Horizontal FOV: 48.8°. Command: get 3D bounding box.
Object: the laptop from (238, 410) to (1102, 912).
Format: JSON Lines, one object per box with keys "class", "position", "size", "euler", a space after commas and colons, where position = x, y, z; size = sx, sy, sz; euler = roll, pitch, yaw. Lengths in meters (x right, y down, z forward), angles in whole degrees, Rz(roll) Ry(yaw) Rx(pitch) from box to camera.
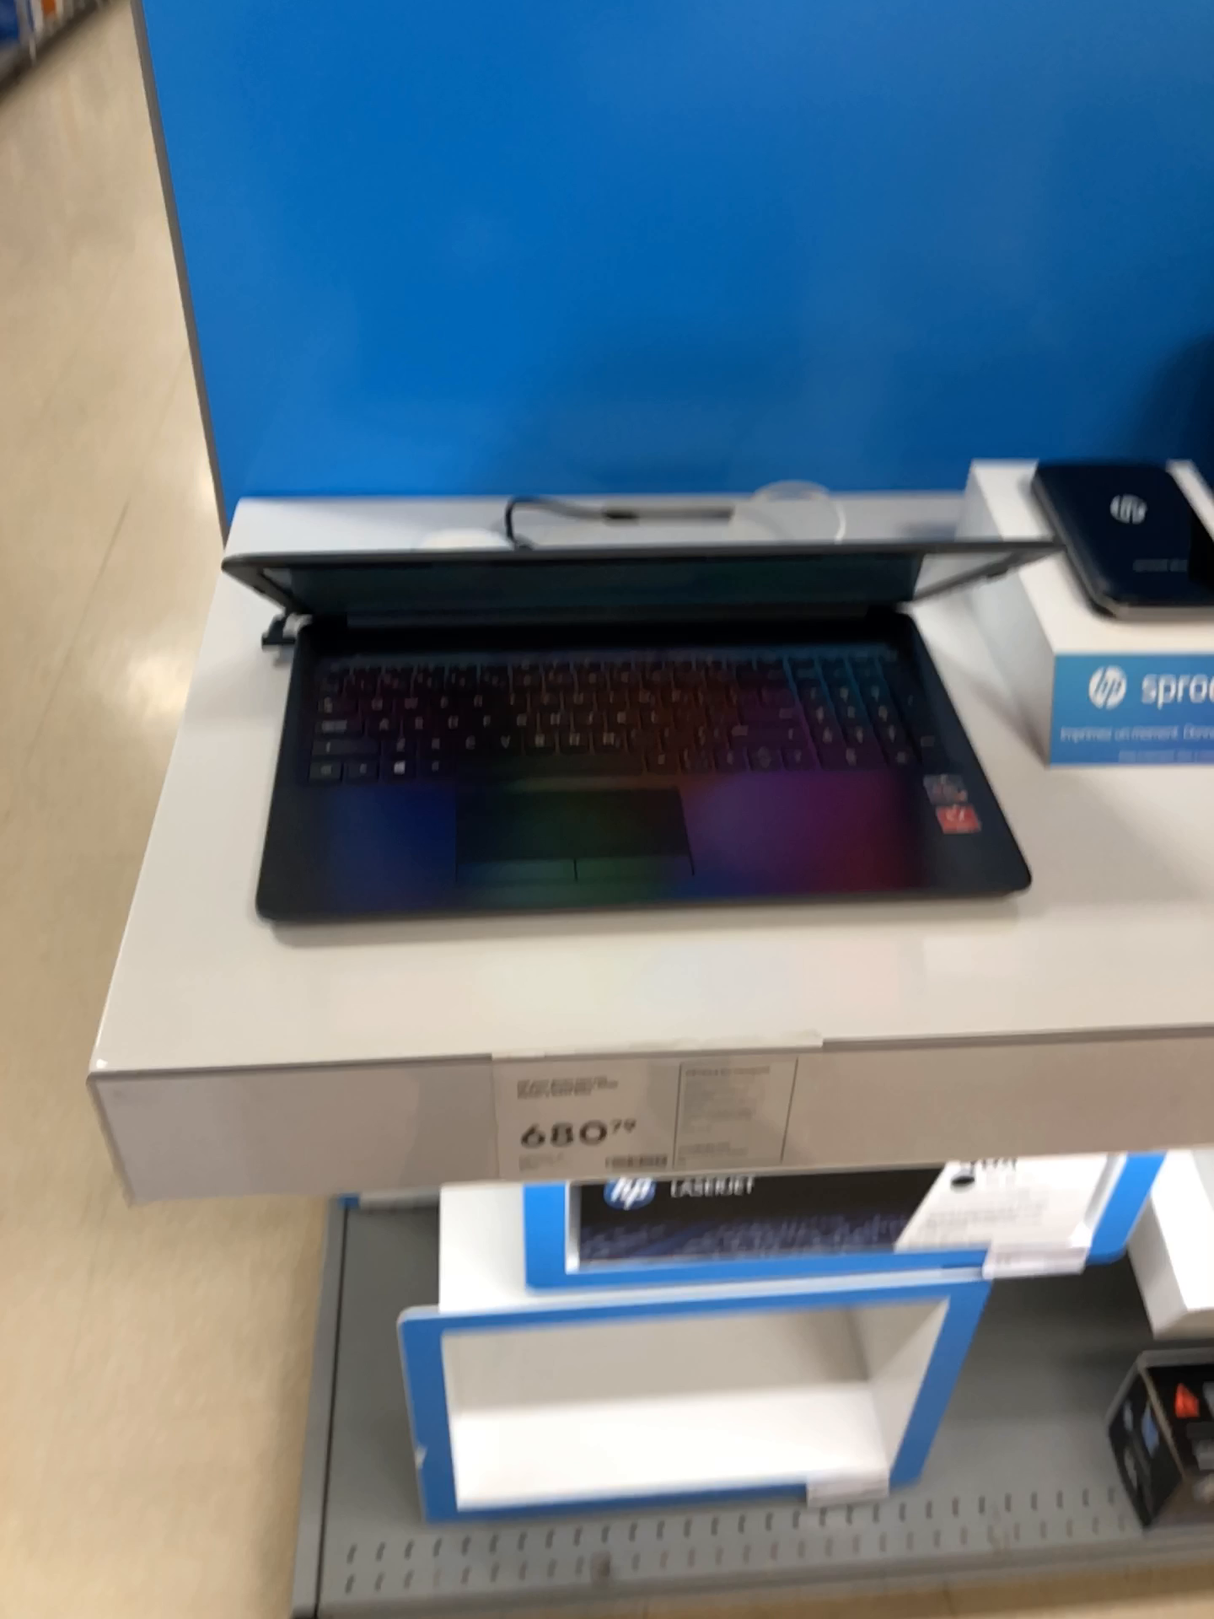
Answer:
{"class": "laptop", "position": [0.017, -0.088, 0.675], "size": [0.355, 0.130, 0.244], "euler": [-2, 40, -8]}
